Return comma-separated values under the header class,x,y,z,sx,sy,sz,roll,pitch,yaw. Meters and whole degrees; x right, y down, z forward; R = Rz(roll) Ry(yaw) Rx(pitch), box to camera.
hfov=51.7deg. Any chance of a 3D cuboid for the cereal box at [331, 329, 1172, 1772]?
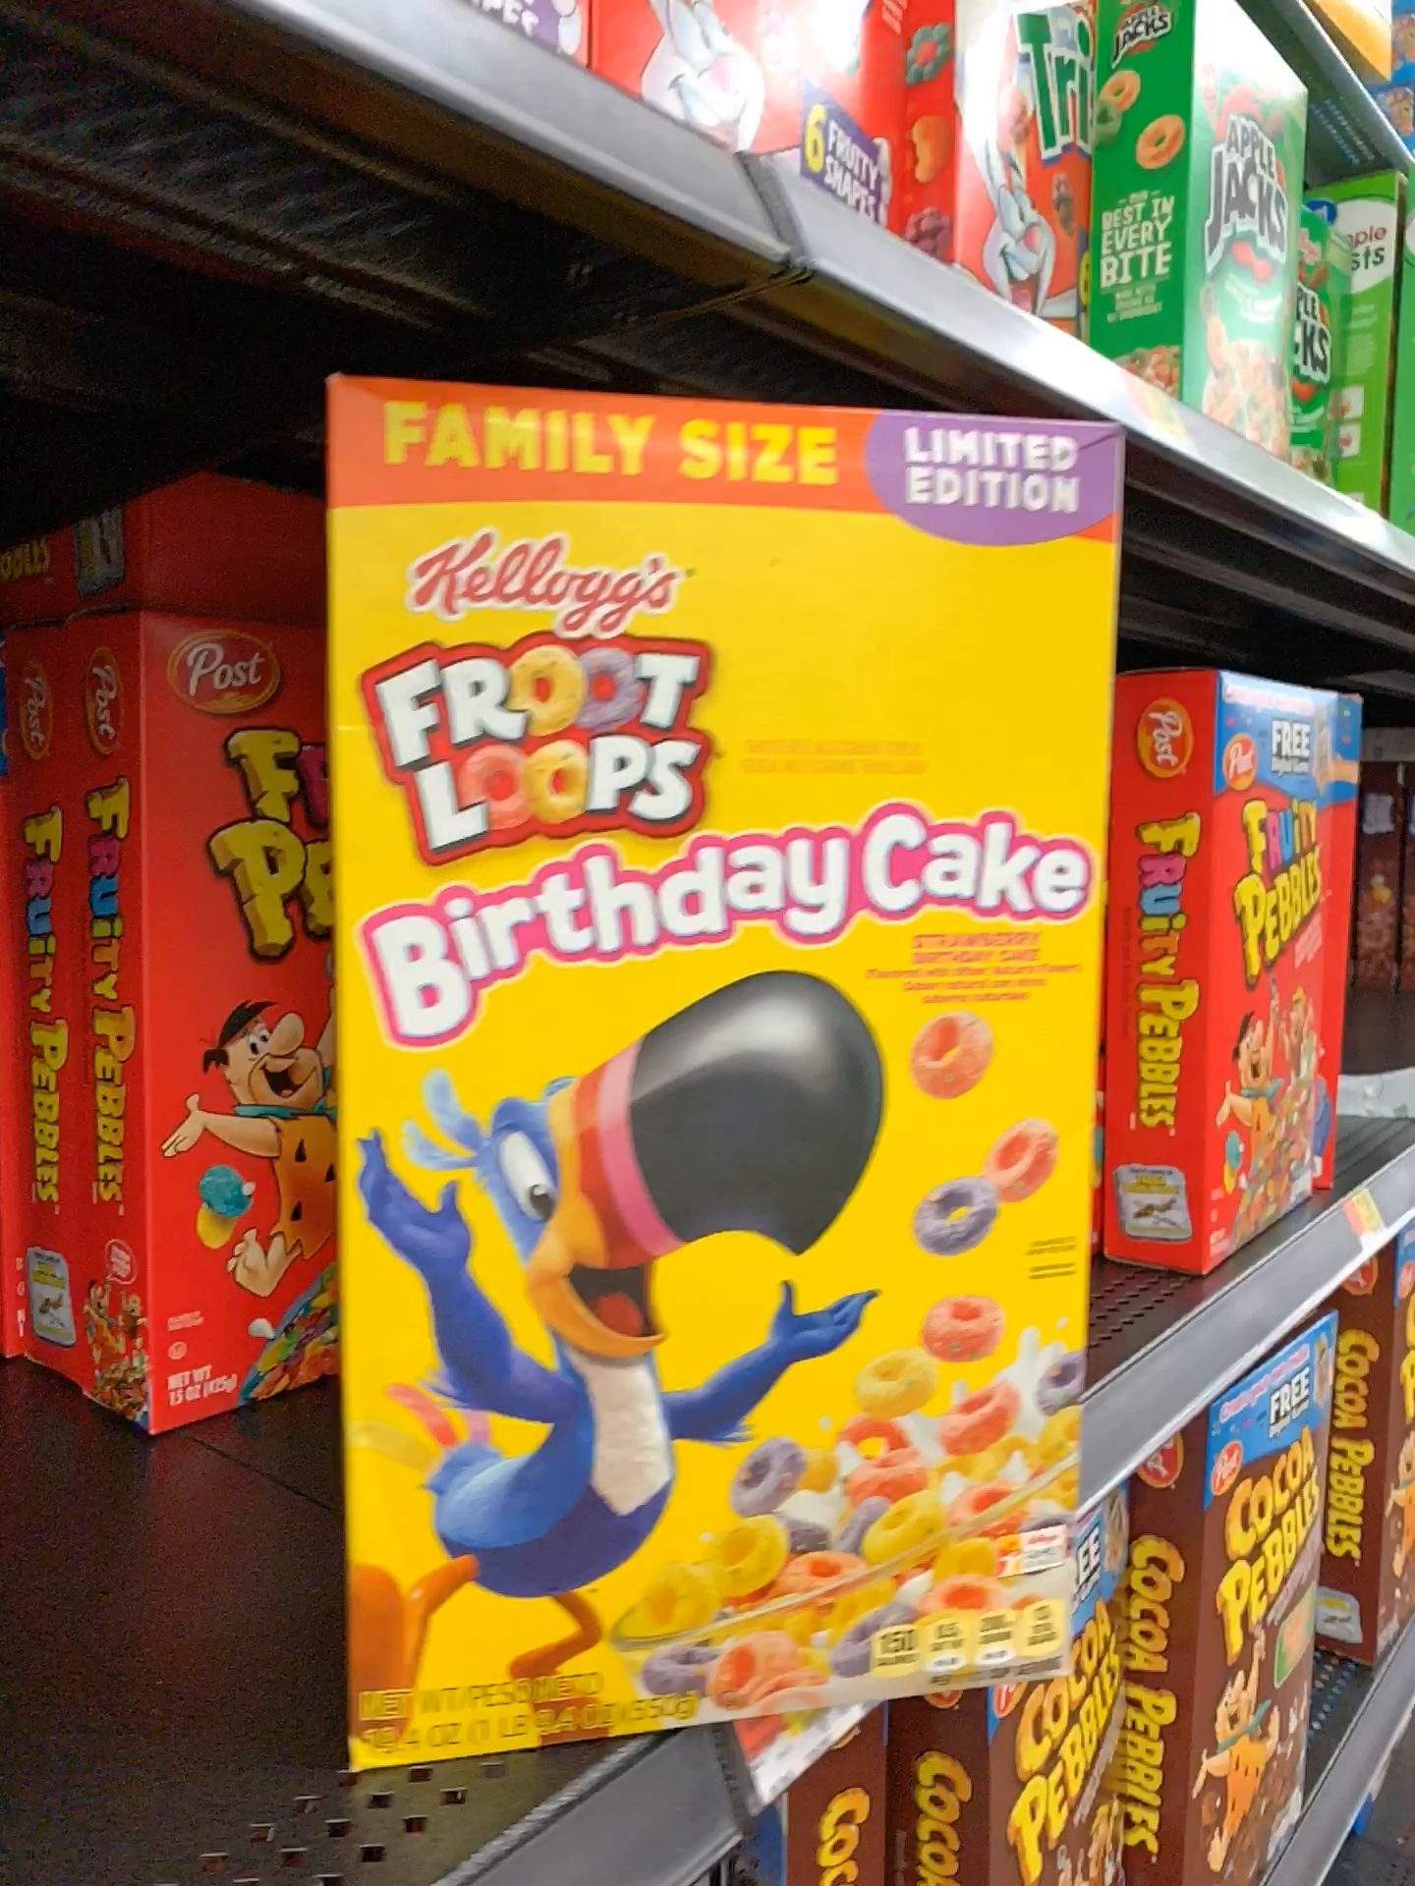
class,x,y,z,sx,sy,sz,roll,pitch,yaw
cereal box,0.004,0.028,0.391,0.200,0.330,0.080,0,5,-13
